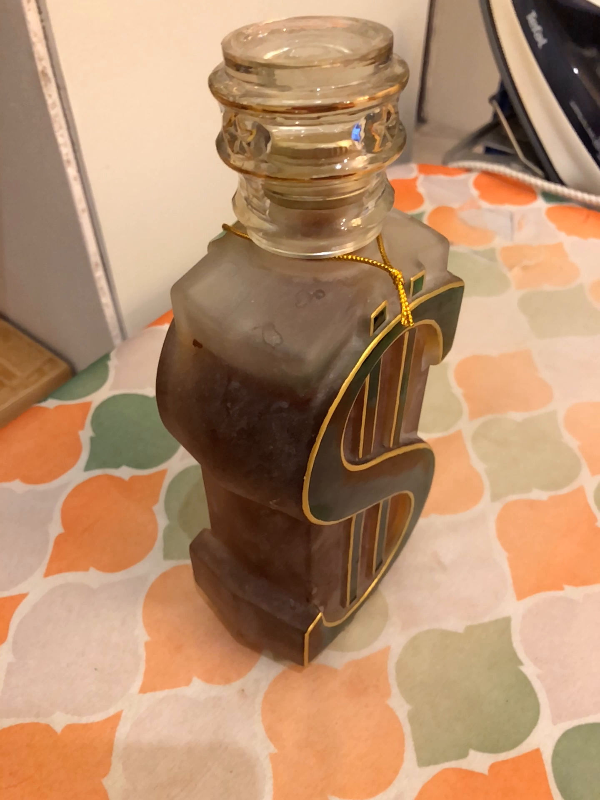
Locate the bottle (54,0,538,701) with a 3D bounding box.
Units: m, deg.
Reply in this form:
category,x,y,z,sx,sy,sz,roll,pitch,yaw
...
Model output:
category,x,y,z,sx,sy,sz,roll,pitch,yaw
bottle,0.006,-0.001,0.236,0.064,0.233,0.100,28,52,26
